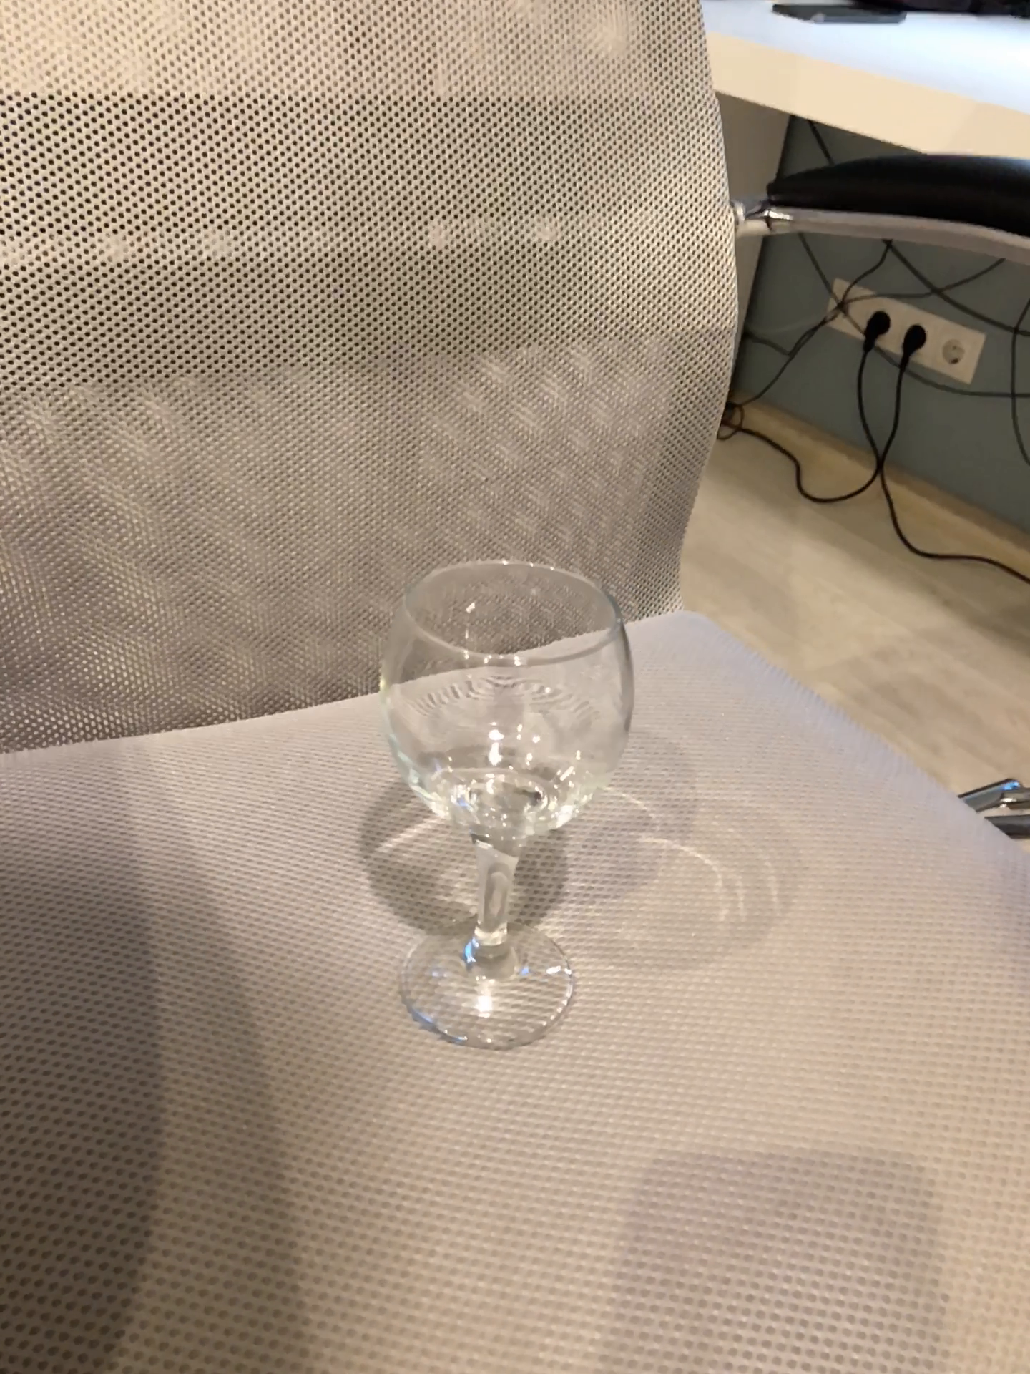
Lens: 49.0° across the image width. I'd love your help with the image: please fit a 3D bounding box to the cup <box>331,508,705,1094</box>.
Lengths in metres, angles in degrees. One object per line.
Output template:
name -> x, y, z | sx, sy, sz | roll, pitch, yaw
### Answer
cup -> -0.003, 0.042, 0.399 | 0.088, 0.172, 0.081 | 4, 36, -3
